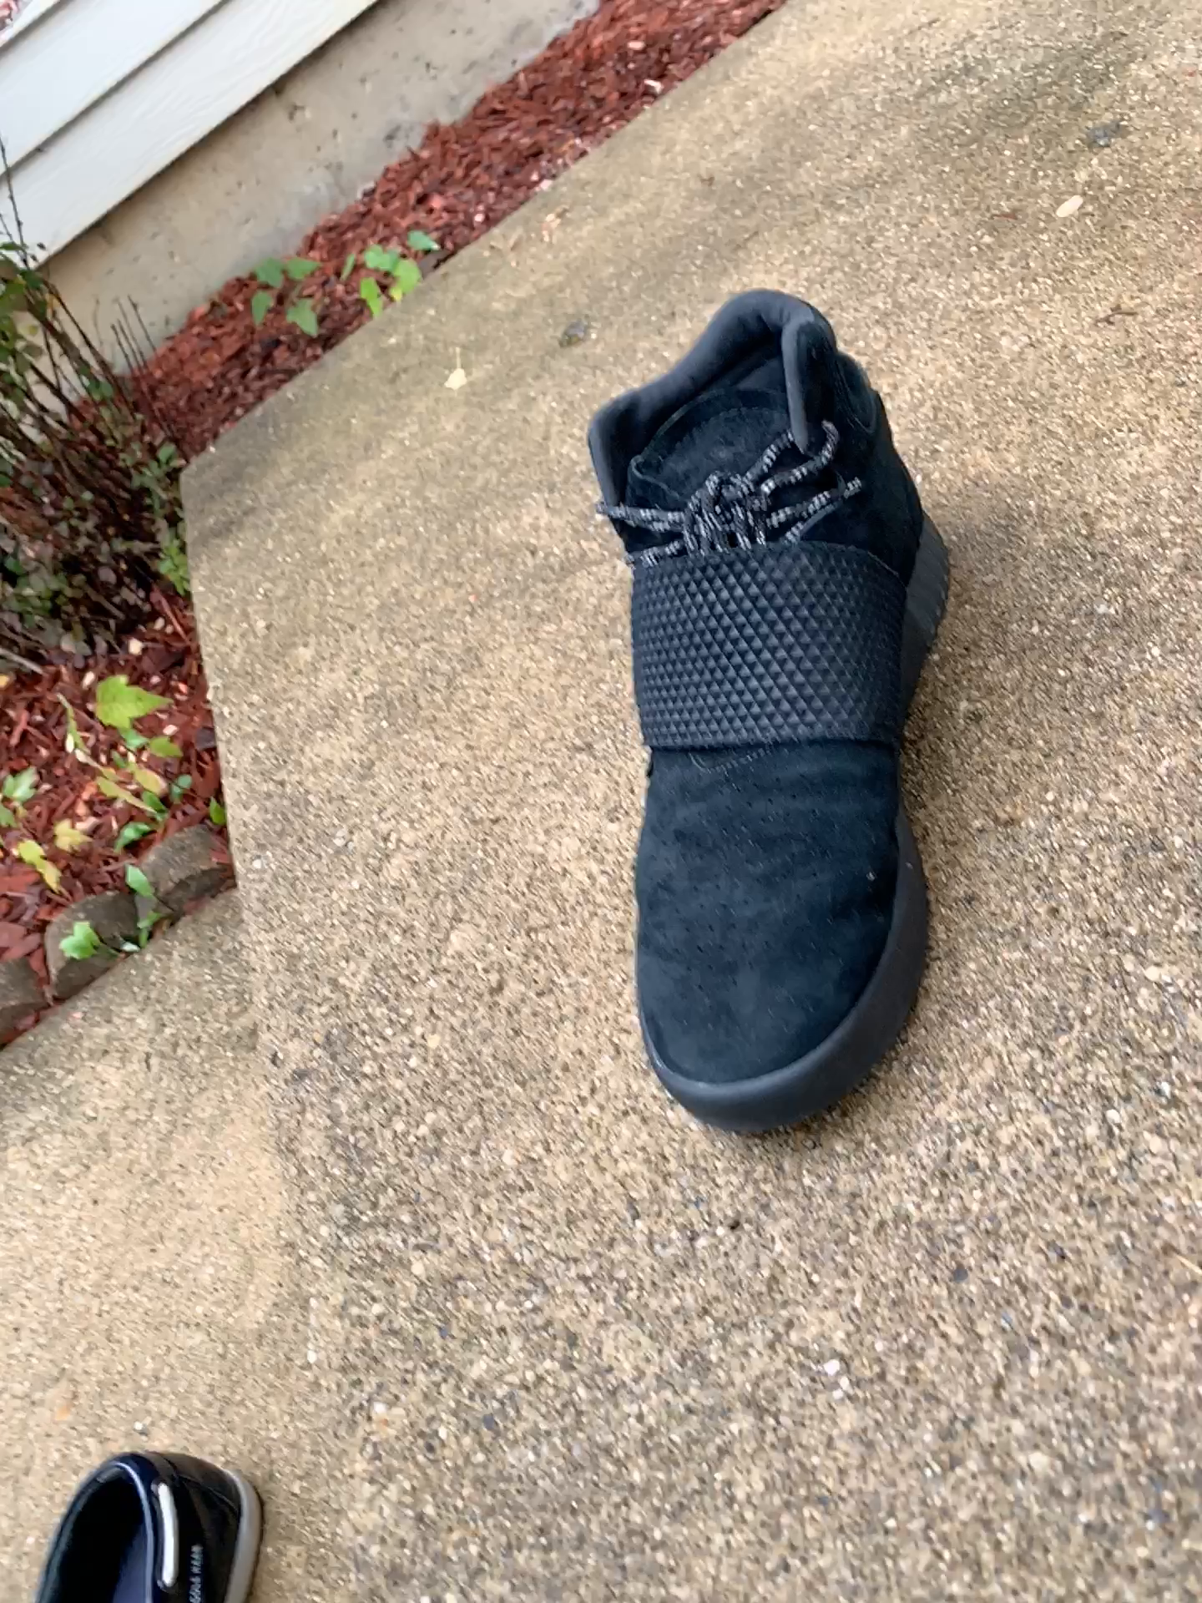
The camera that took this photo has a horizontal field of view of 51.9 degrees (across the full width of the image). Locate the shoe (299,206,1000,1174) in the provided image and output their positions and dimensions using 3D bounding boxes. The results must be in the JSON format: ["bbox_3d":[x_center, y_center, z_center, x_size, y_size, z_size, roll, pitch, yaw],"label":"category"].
[{"bbox_3d":[0.043,-0.045,0.425,0.119,0.141,0.291,-7,47,34],"label":"shoe"}]
